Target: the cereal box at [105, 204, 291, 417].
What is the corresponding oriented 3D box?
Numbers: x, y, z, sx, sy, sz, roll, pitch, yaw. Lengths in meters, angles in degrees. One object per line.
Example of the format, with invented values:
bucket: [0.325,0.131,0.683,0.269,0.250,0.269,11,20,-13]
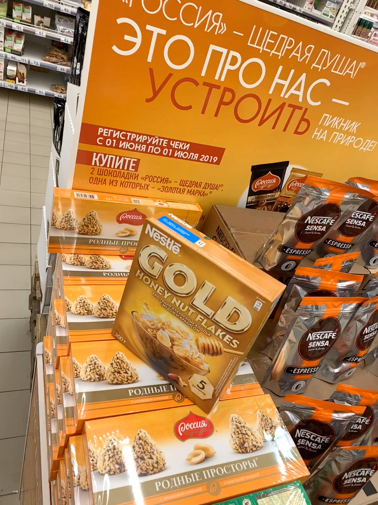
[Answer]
cereal box: [-0.004,0.082,0.536,0.200,0.219,0.060,33,36,18]
